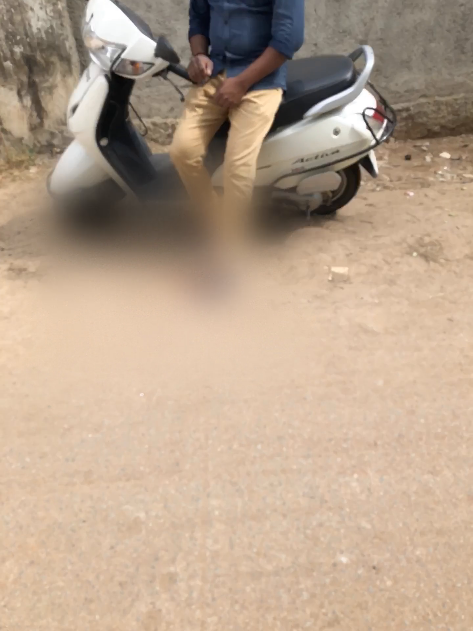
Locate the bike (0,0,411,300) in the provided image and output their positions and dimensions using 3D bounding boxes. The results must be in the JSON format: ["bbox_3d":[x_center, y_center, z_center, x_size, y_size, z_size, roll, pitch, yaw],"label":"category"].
[{"bbox_3d":[-0.177,-0.800,2.356,1.623,1.139,0.673,-4,37,0],"label":"bike"}]
